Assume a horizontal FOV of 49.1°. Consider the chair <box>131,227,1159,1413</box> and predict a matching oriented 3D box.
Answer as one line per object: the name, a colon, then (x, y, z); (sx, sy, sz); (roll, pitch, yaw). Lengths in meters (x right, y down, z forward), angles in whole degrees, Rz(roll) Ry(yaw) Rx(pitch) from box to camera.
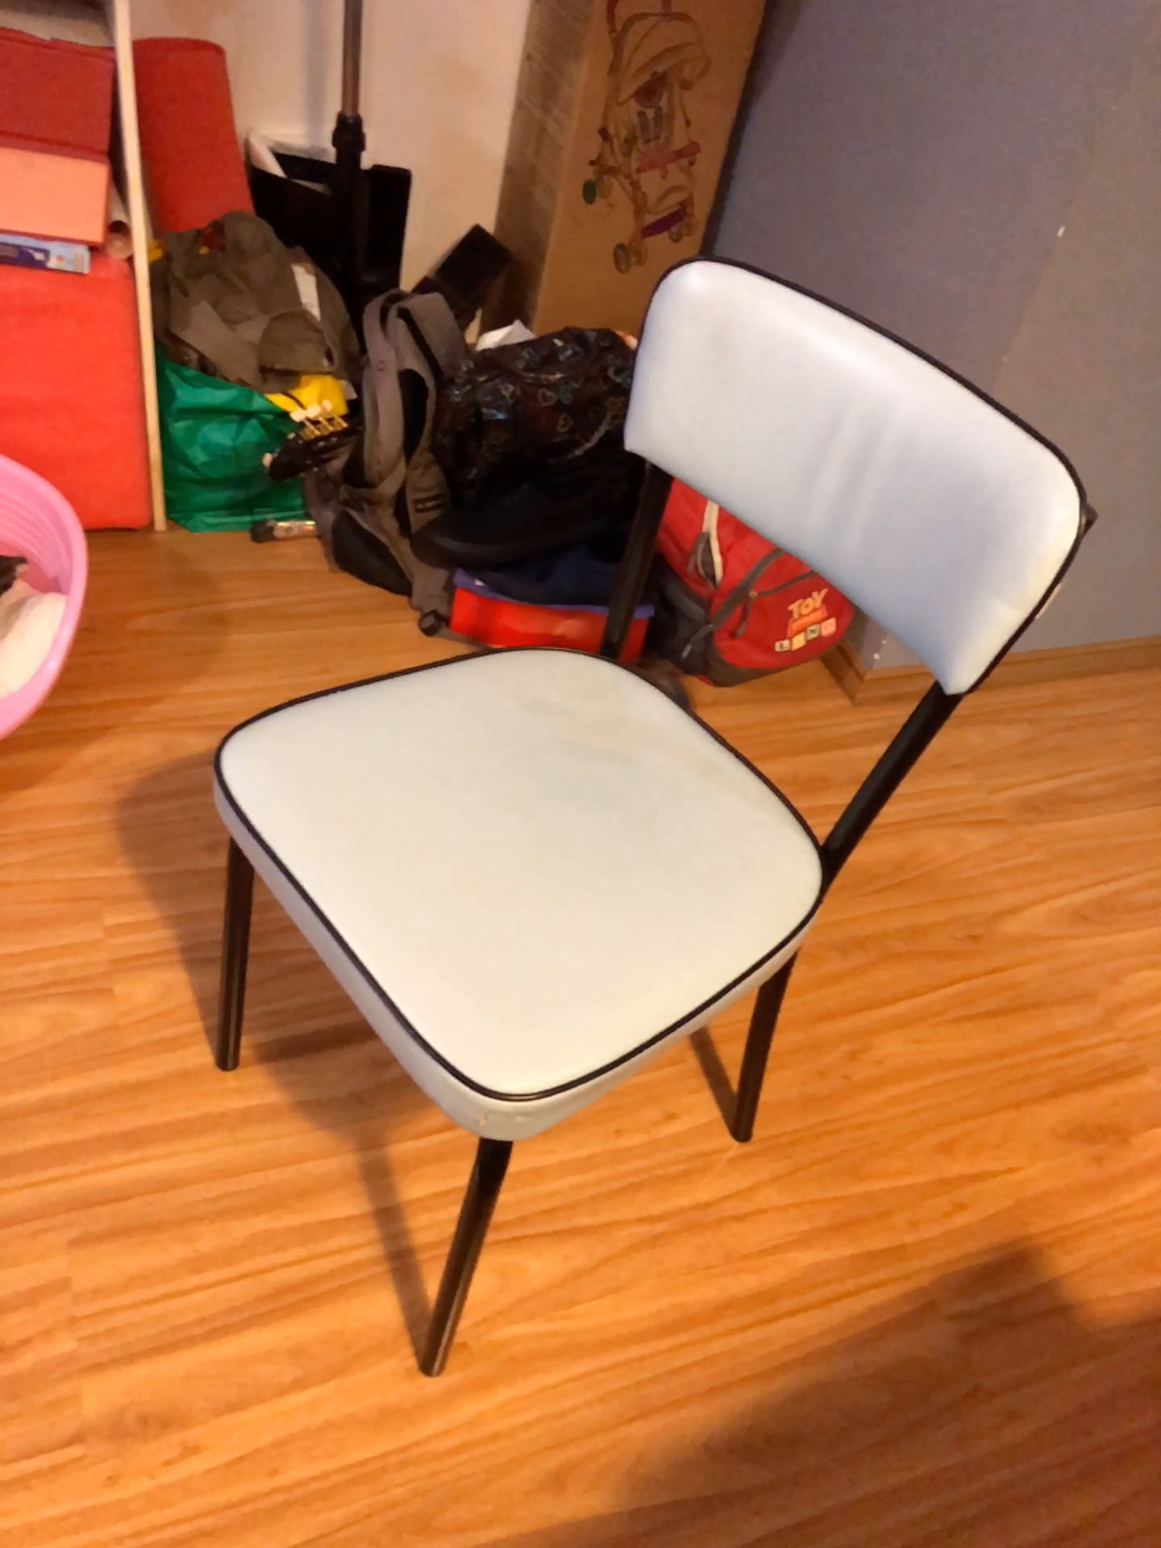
chair: (-0.014, 0.050, 1.086); (0.502, 0.794, 0.452); (-24, 54, -33)
